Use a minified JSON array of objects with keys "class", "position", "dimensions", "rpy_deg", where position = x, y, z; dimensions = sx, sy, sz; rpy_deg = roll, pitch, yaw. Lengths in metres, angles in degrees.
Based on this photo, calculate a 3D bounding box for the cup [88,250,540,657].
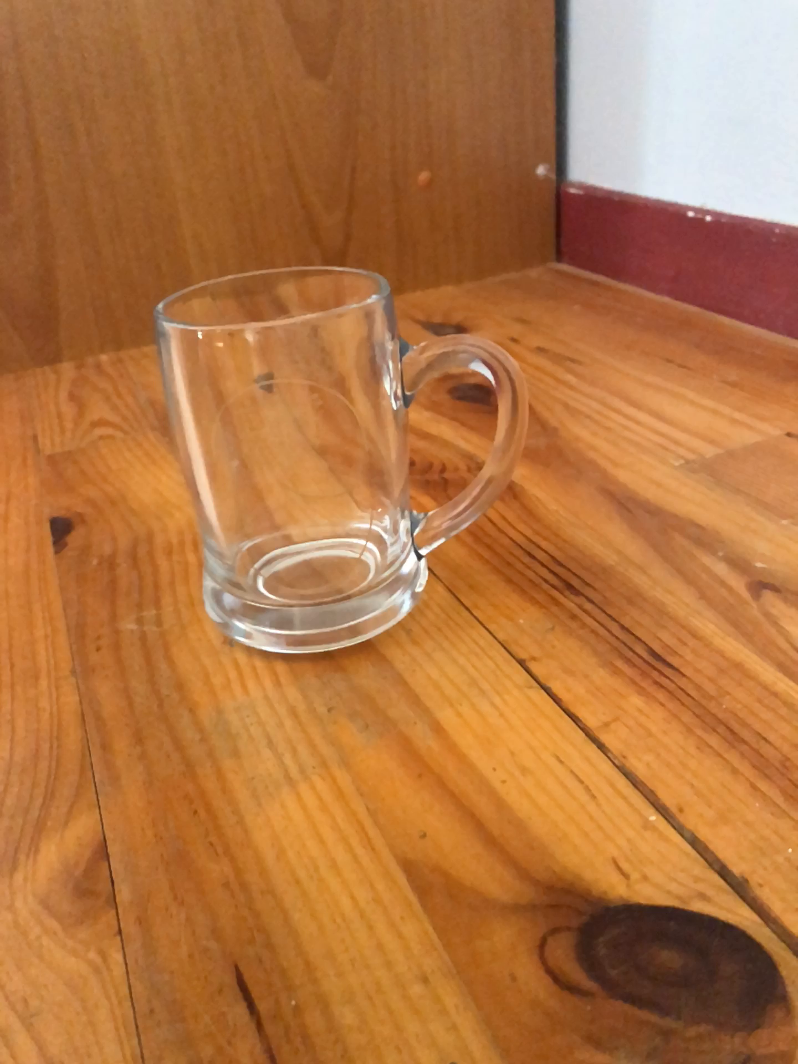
[{"class":"cup","position":[-0.017,-0.029,0.312],"dimensions":[0.128,0.110,0.092],"rpy_deg":[-2,30,6]}]
